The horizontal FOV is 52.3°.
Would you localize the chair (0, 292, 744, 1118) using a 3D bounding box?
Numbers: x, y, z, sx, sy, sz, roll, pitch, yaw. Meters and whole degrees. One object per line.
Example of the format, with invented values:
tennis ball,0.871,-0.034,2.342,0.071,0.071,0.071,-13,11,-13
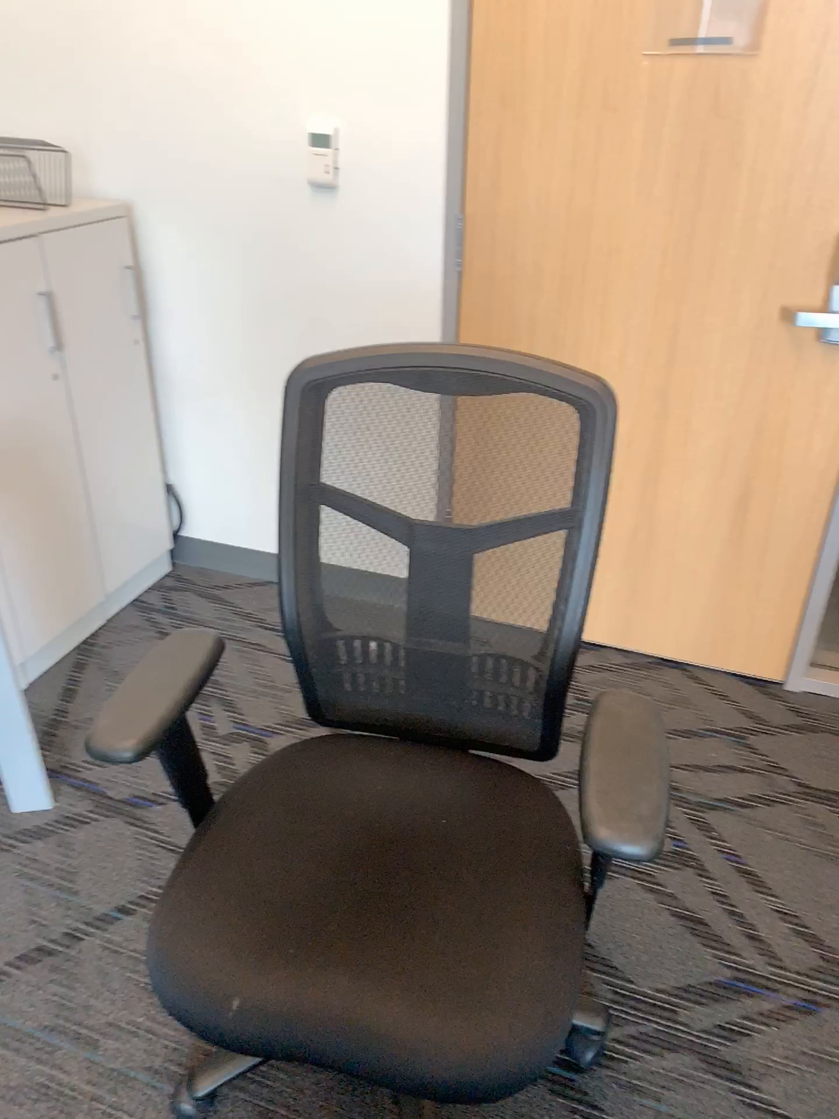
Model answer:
chair,-0.015,0.254,1.134,0.660,0.992,0.725,10,30,16
